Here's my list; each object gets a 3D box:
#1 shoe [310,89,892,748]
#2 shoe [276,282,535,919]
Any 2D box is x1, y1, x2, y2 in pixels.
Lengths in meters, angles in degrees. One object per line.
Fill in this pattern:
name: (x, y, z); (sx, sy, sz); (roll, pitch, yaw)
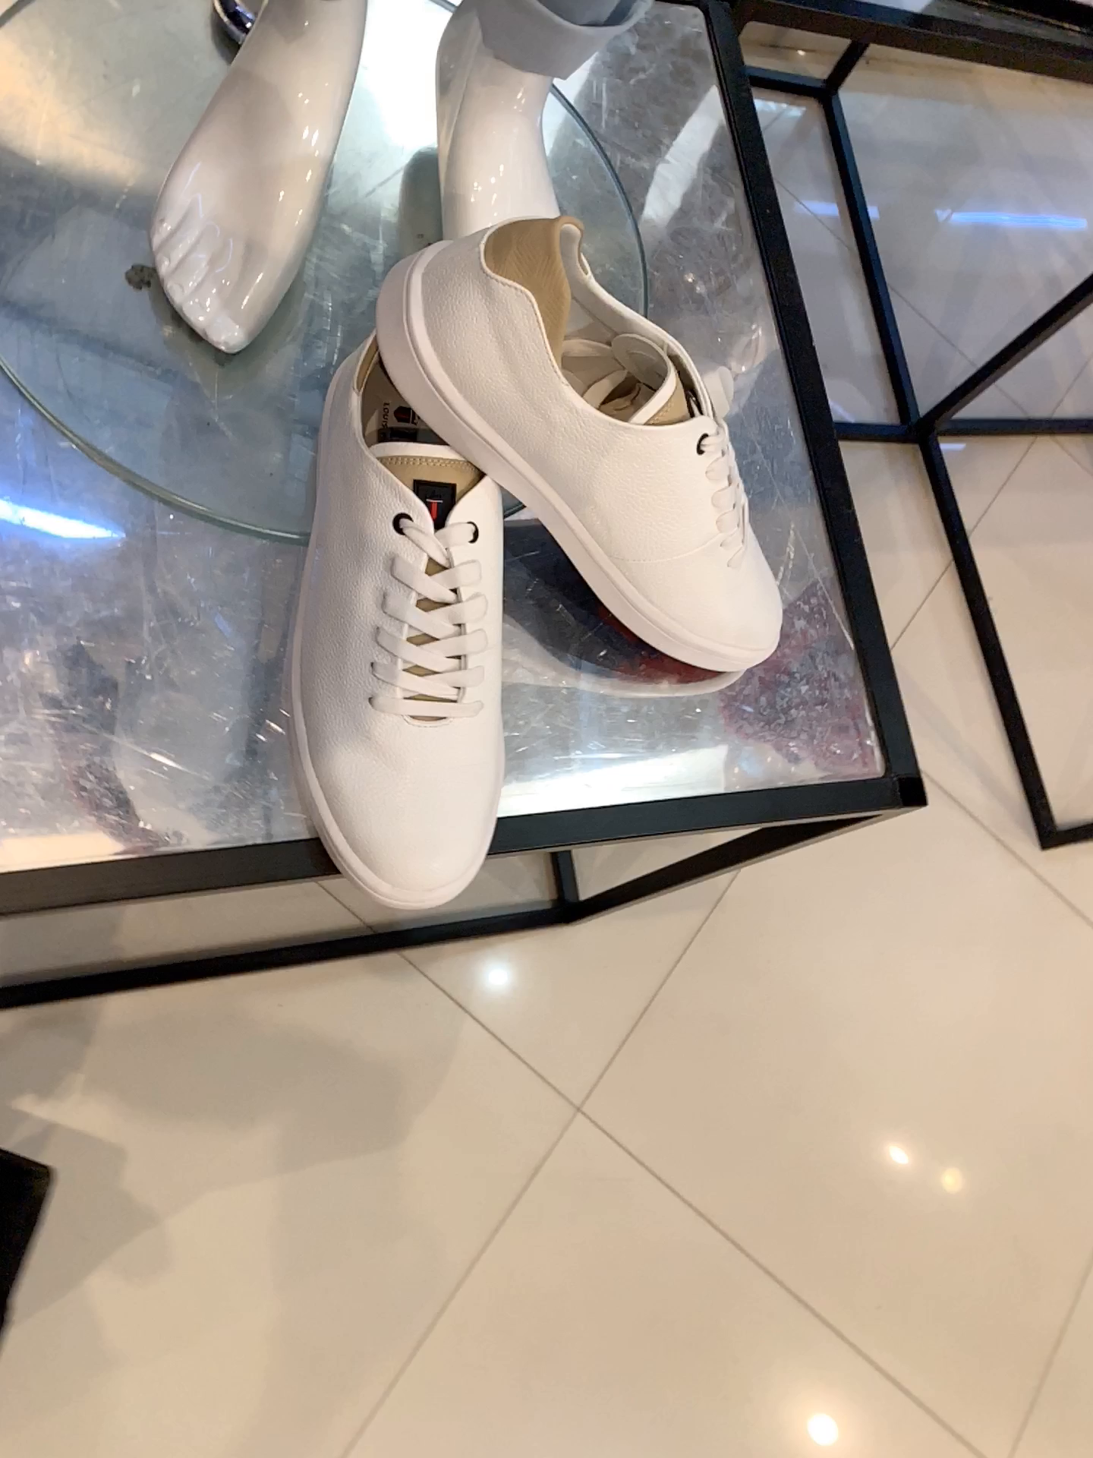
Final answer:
shoe: (0.045, -0.128, 0.528); (0.300, 0.080, 0.100); (42, 45, -26)
shoe: (-0.075, -0.058, 0.556); (0.100, 0.100, 0.291); (3, 73, -19)
